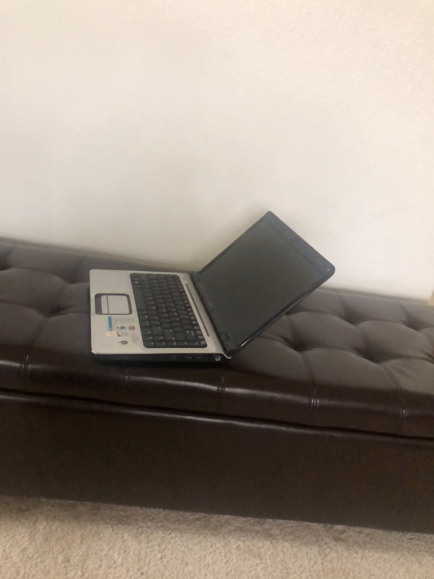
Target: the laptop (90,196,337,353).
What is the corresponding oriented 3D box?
[{"bbox_3d":[-0.036,-0.040,0.905,0.381,0.161,0.327,2,25,-17],"label":"laptop"}]
